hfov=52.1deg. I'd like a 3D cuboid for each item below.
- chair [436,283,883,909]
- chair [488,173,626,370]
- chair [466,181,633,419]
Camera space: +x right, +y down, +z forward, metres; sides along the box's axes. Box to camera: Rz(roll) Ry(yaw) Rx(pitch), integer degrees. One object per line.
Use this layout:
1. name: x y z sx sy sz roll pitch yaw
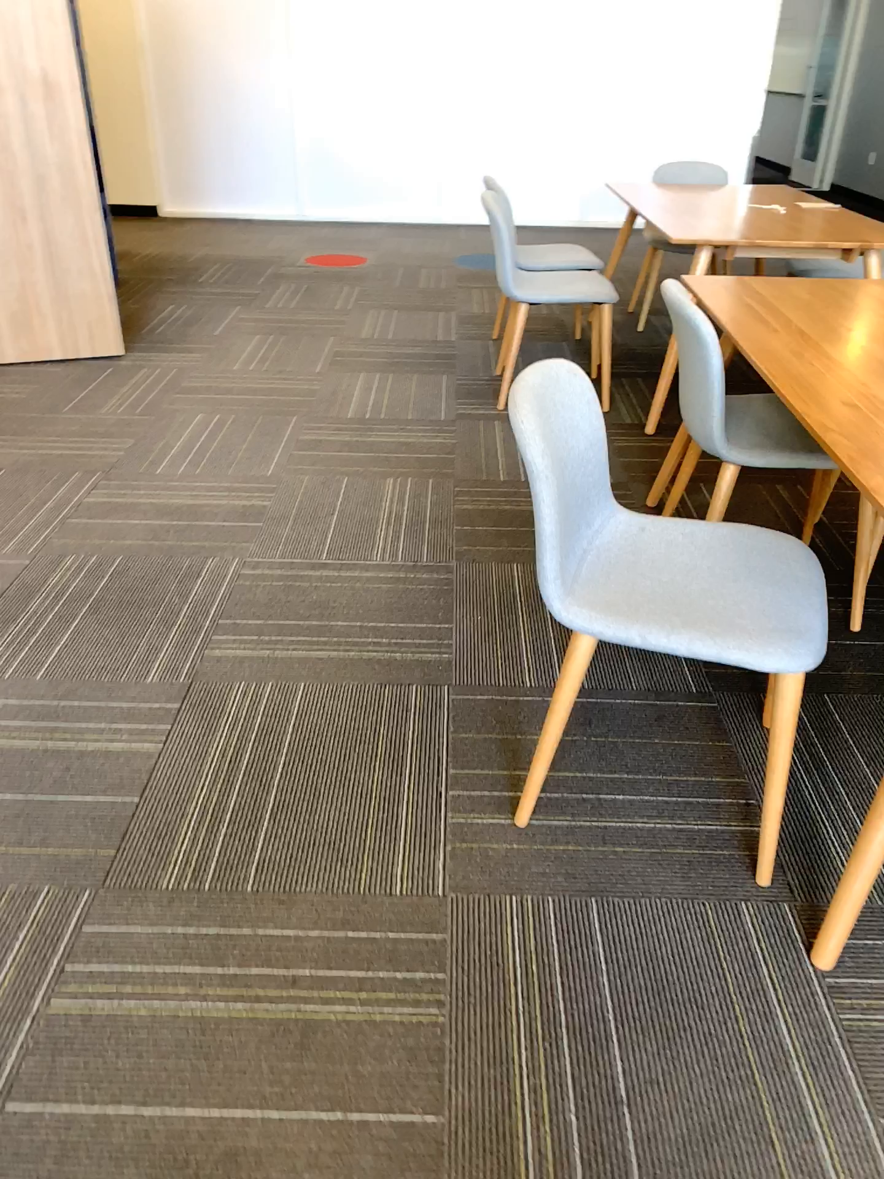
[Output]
1. chair: 0.417 -0.056 1.707 0.631 0.815 0.763 11 31 16
2. chair: 0.511 -1.515 4.285 0.530 0.776 0.573 1 30 0
3. chair: 0.409 -1.190 3.684 0.570 0.796 0.593 3 30 3
